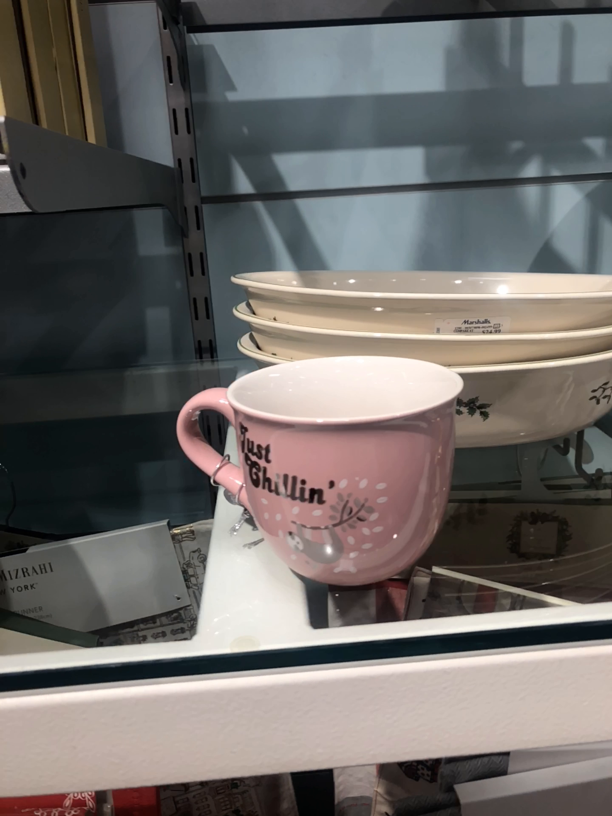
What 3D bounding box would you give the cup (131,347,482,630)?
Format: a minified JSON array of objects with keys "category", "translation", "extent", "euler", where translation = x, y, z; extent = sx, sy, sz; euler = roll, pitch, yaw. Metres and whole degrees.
[{"category":"cup","translation":[0.011,0.026,0.323],"extent":[0.136,0.085,0.112],"euler":[3,18,16]}]
